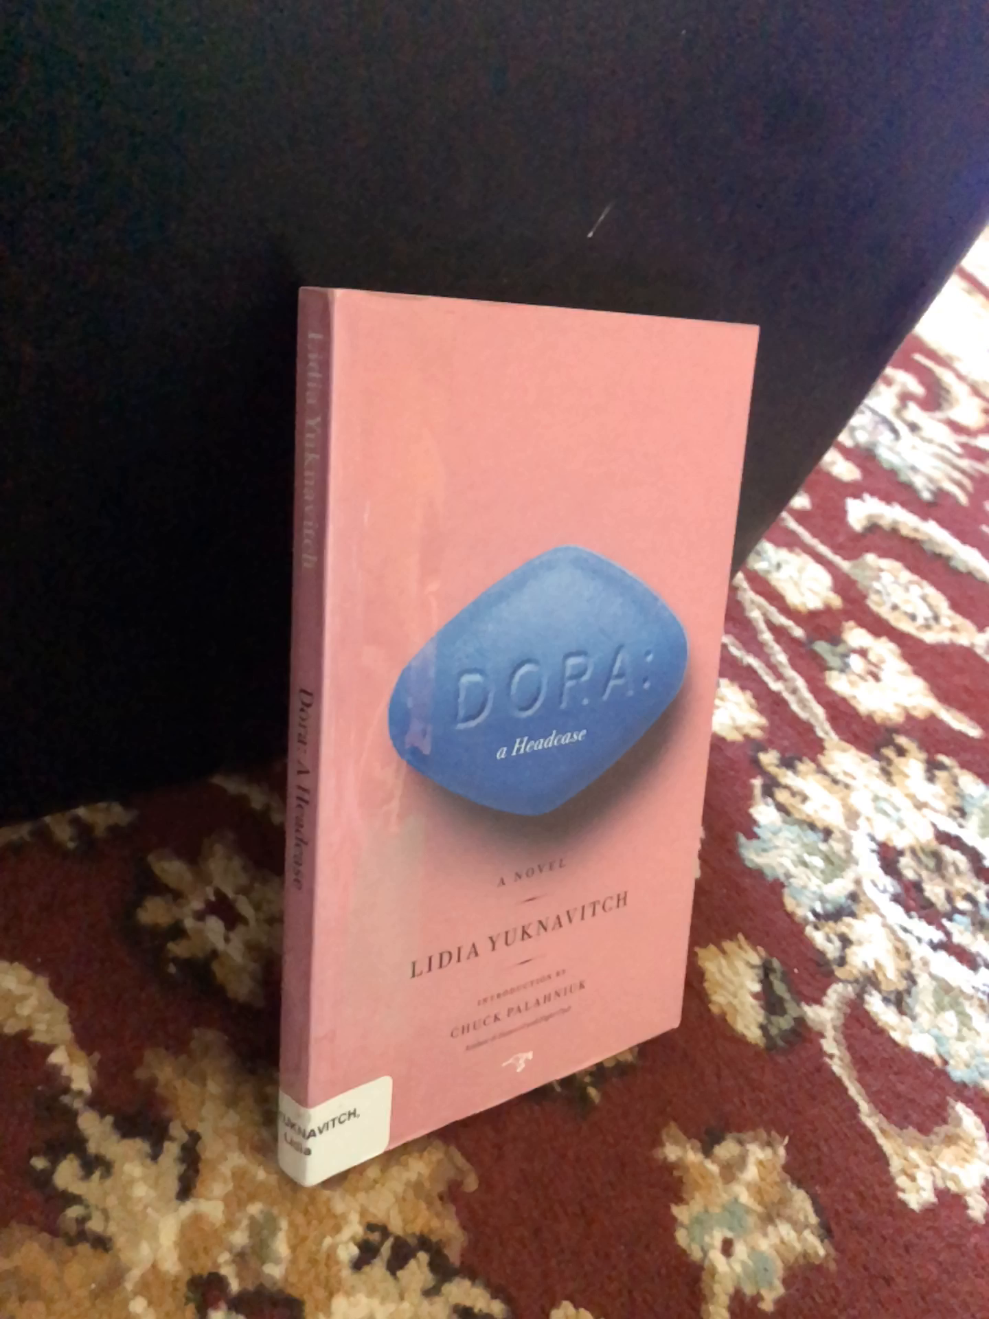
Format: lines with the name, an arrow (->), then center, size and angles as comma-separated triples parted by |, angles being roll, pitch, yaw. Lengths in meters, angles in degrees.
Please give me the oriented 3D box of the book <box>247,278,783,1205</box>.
book -> 0.006, 0.020, 0.313 | 0.149, 0.231, 0.030 | -8, 20, -36
